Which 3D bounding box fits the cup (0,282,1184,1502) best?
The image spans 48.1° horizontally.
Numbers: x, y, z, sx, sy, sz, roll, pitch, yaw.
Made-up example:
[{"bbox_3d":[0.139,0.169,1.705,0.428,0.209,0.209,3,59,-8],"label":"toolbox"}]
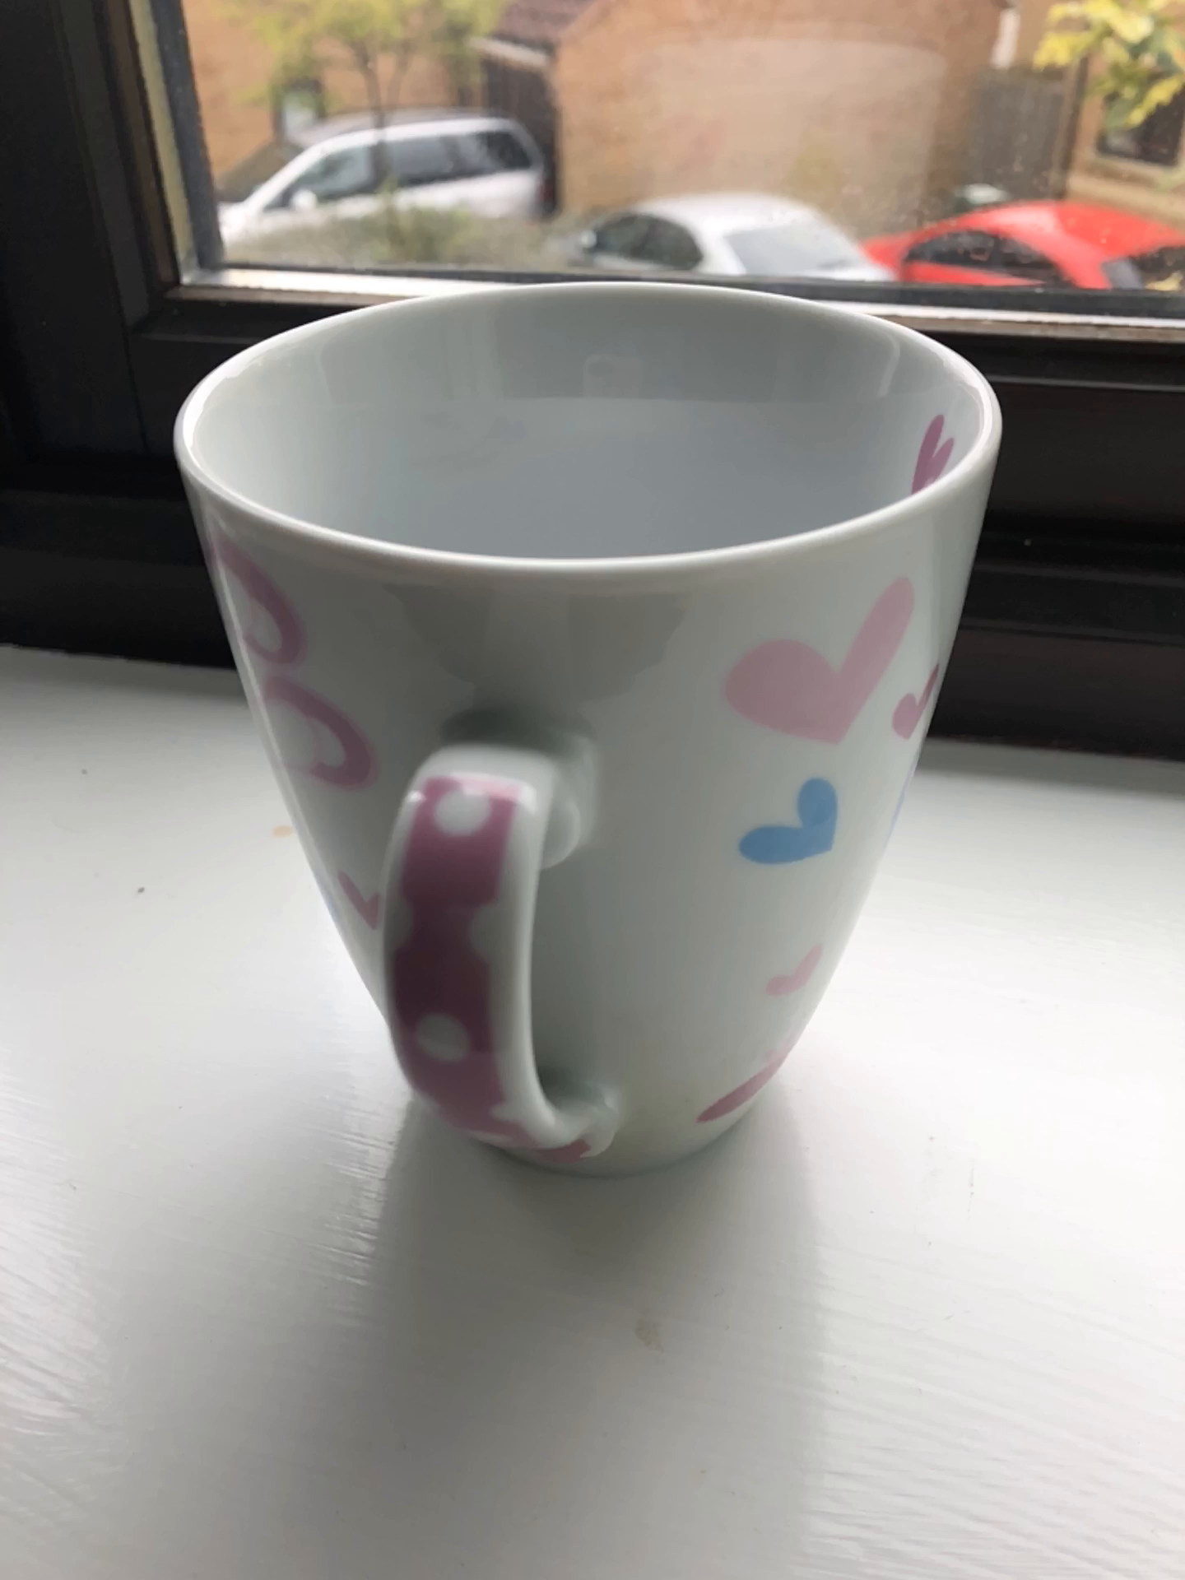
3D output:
[{"bbox_3d":[0.001,-0.004,0.178,0.110,0.089,0.141,2,34,5],"label":"cup"}]
